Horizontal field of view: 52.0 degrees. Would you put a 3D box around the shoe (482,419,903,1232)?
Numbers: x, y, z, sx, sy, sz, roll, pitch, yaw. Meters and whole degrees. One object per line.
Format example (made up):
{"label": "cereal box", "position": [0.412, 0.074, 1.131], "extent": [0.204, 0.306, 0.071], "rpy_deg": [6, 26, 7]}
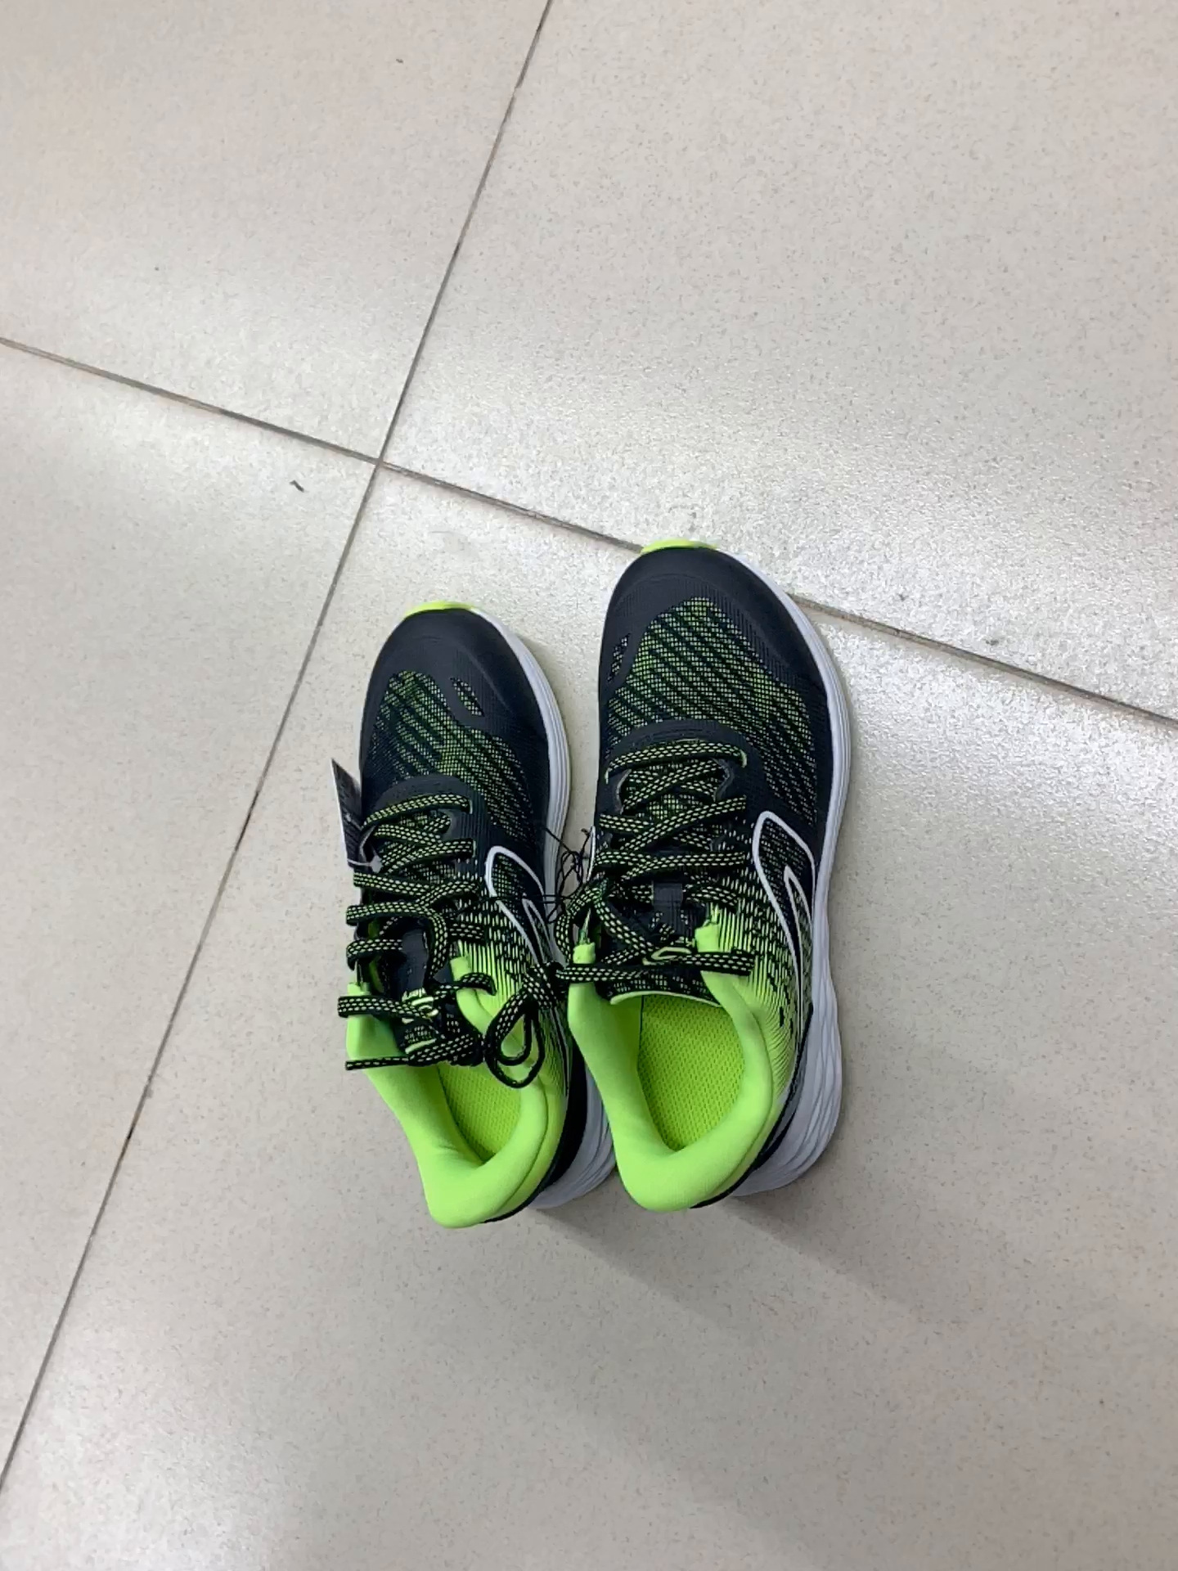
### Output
{"label": "shoe", "position": [0.039, 0.017, 0.422], "extent": [0.090, 0.110, 0.240], "rpy_deg": [-9, 82, 23]}

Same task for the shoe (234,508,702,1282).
{"label": "shoe", "position": [-0.042, 0.039, 0.448], "extent": [0.090, 0.110, 0.240], "rpy_deg": [-15, 80, 22]}
